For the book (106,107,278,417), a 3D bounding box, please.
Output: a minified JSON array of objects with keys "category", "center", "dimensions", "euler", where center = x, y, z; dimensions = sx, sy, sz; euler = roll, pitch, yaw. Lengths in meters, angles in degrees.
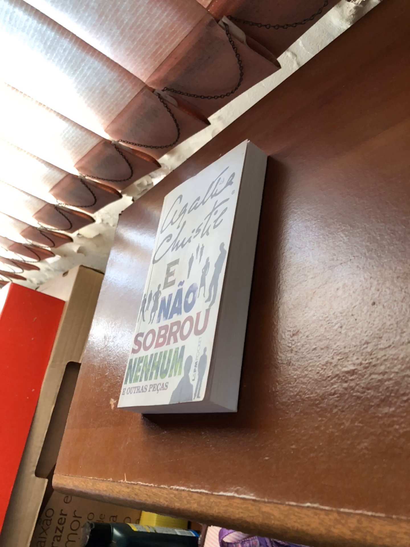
[{"category":"book","center":[-0.008,-0.004,0.299],"dimensions":[0.110,0.024,0.186],"euler":[-23,50,51]}]
